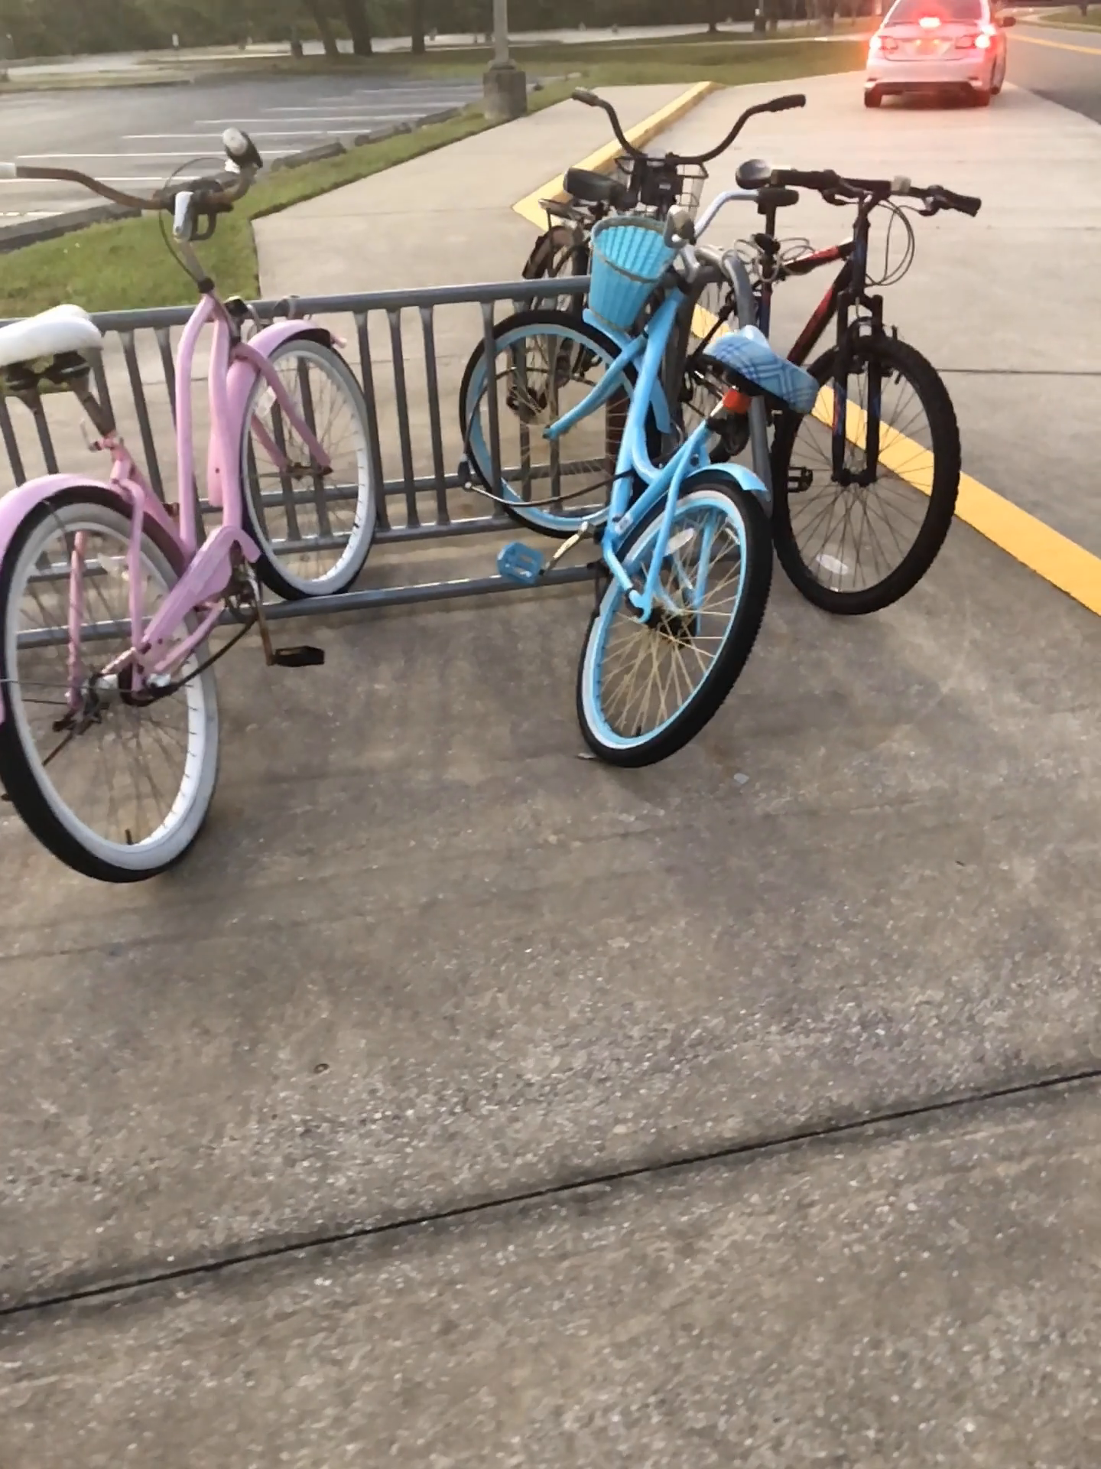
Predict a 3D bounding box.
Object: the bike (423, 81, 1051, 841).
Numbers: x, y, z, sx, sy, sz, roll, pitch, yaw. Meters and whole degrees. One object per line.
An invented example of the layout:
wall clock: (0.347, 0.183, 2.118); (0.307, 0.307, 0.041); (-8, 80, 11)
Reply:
bike: (0.255, -0.683, 2.562); (0.583, 0.953, 1.425); (-12, 38, -15)

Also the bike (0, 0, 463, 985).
bike: (-0.753, -0.650, 2.280); (0.771, 1.145, 1.616); (2, 38, 9)
